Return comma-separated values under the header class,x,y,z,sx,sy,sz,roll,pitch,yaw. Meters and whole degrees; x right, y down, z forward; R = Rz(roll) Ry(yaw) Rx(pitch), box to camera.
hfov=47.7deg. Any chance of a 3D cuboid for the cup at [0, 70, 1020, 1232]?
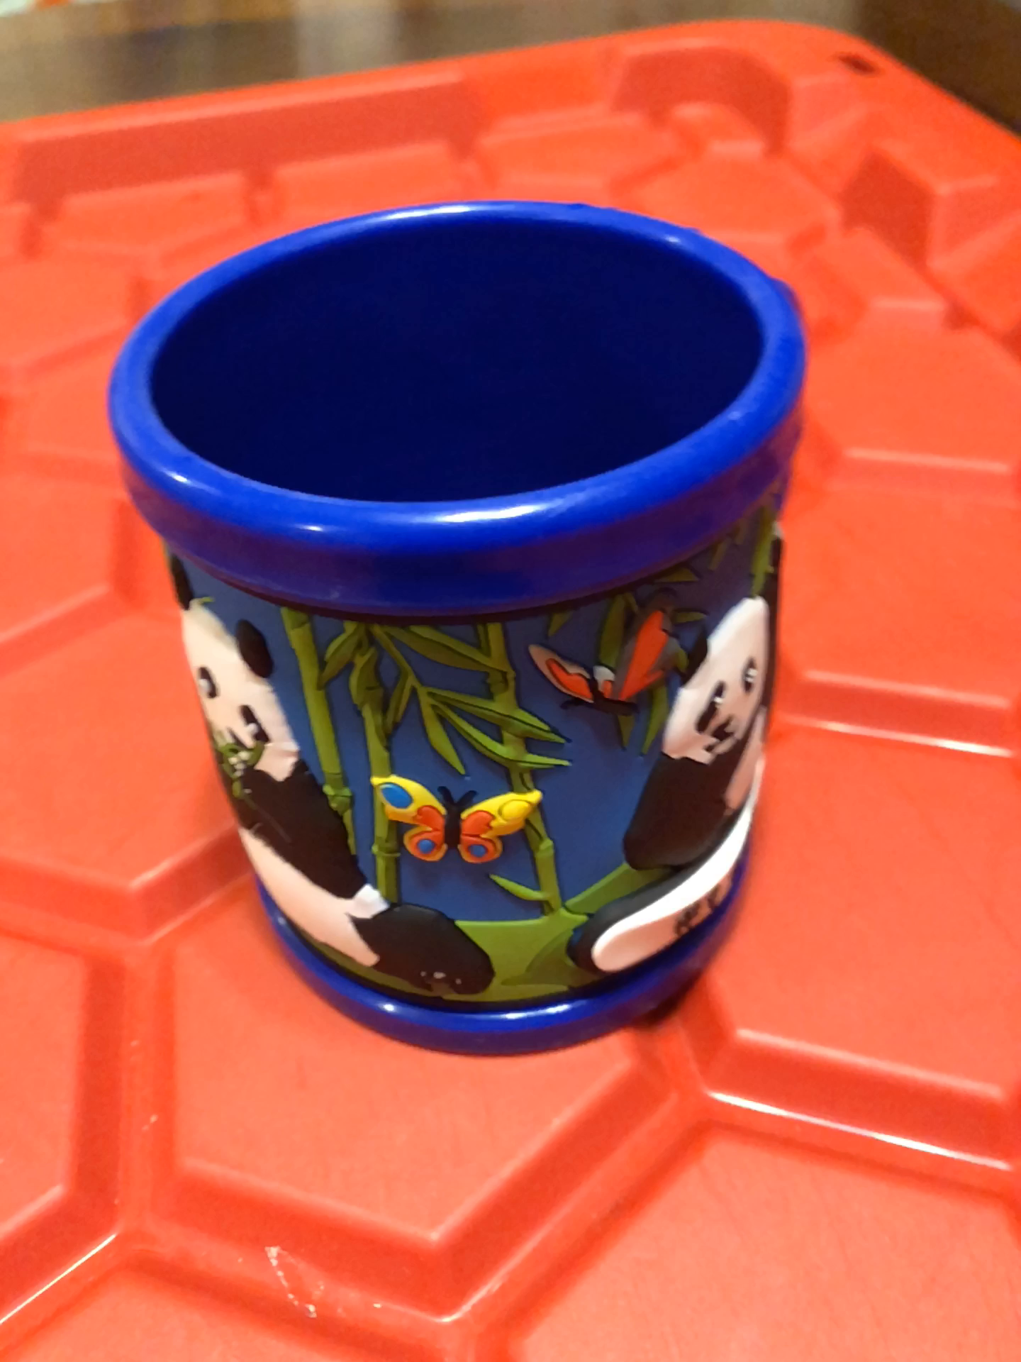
class,x,y,z,sx,sy,sz,roll,pitch,yaw
cup,0.011,-0.016,0.173,0.090,0.099,0.120,29,51,31
